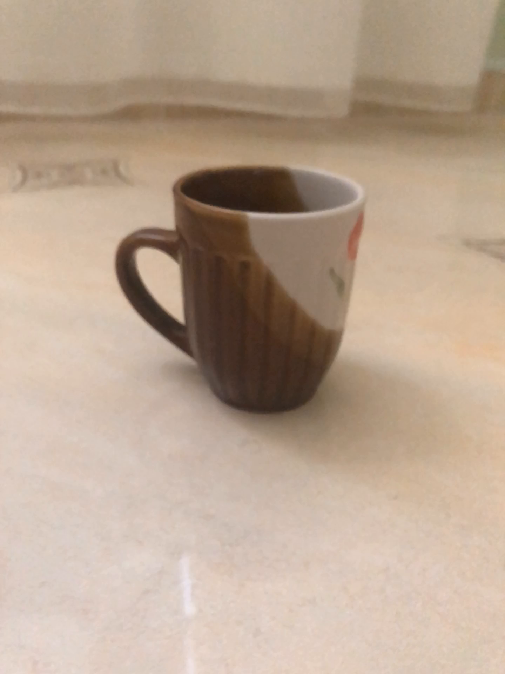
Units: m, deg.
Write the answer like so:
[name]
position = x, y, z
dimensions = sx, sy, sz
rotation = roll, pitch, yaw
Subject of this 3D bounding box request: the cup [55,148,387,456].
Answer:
[cup]
position = -0.011, -0.023, 0.240
dimensions = 0.104, 0.086, 0.076
rotation = 16, 32, 24
